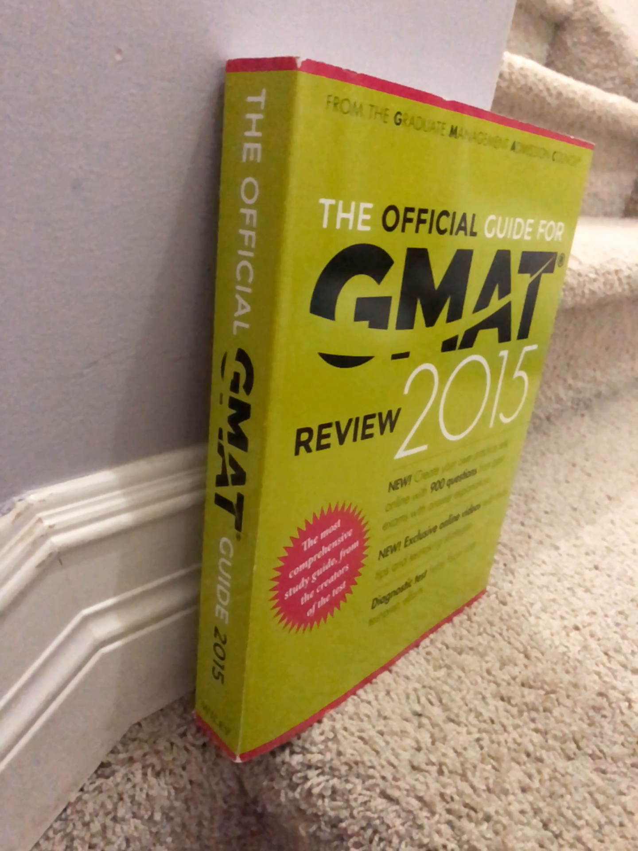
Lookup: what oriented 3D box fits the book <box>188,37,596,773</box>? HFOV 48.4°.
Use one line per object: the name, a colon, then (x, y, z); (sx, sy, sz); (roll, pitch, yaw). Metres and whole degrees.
book: (0.045, -0.012, 0.354); (0.040, 0.277, 0.236); (20, 23, 37)
